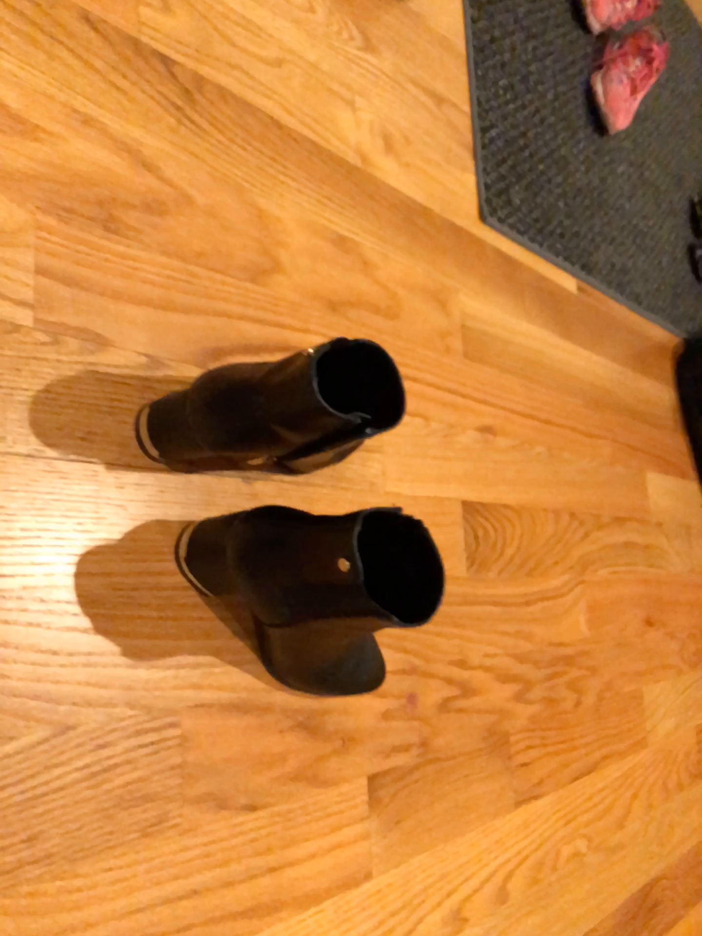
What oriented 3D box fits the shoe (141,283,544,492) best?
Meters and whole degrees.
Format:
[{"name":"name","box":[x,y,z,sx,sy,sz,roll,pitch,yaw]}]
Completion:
[{"name":"shoe","box":[0.001,-0.044,0.574,0.237,0.175,0.095,-1,82,-49]}]

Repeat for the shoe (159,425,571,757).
[{"name":"shoe","box":[0.018,0.099,0.560,0.236,0.175,0.095,50,48,-30]}]
